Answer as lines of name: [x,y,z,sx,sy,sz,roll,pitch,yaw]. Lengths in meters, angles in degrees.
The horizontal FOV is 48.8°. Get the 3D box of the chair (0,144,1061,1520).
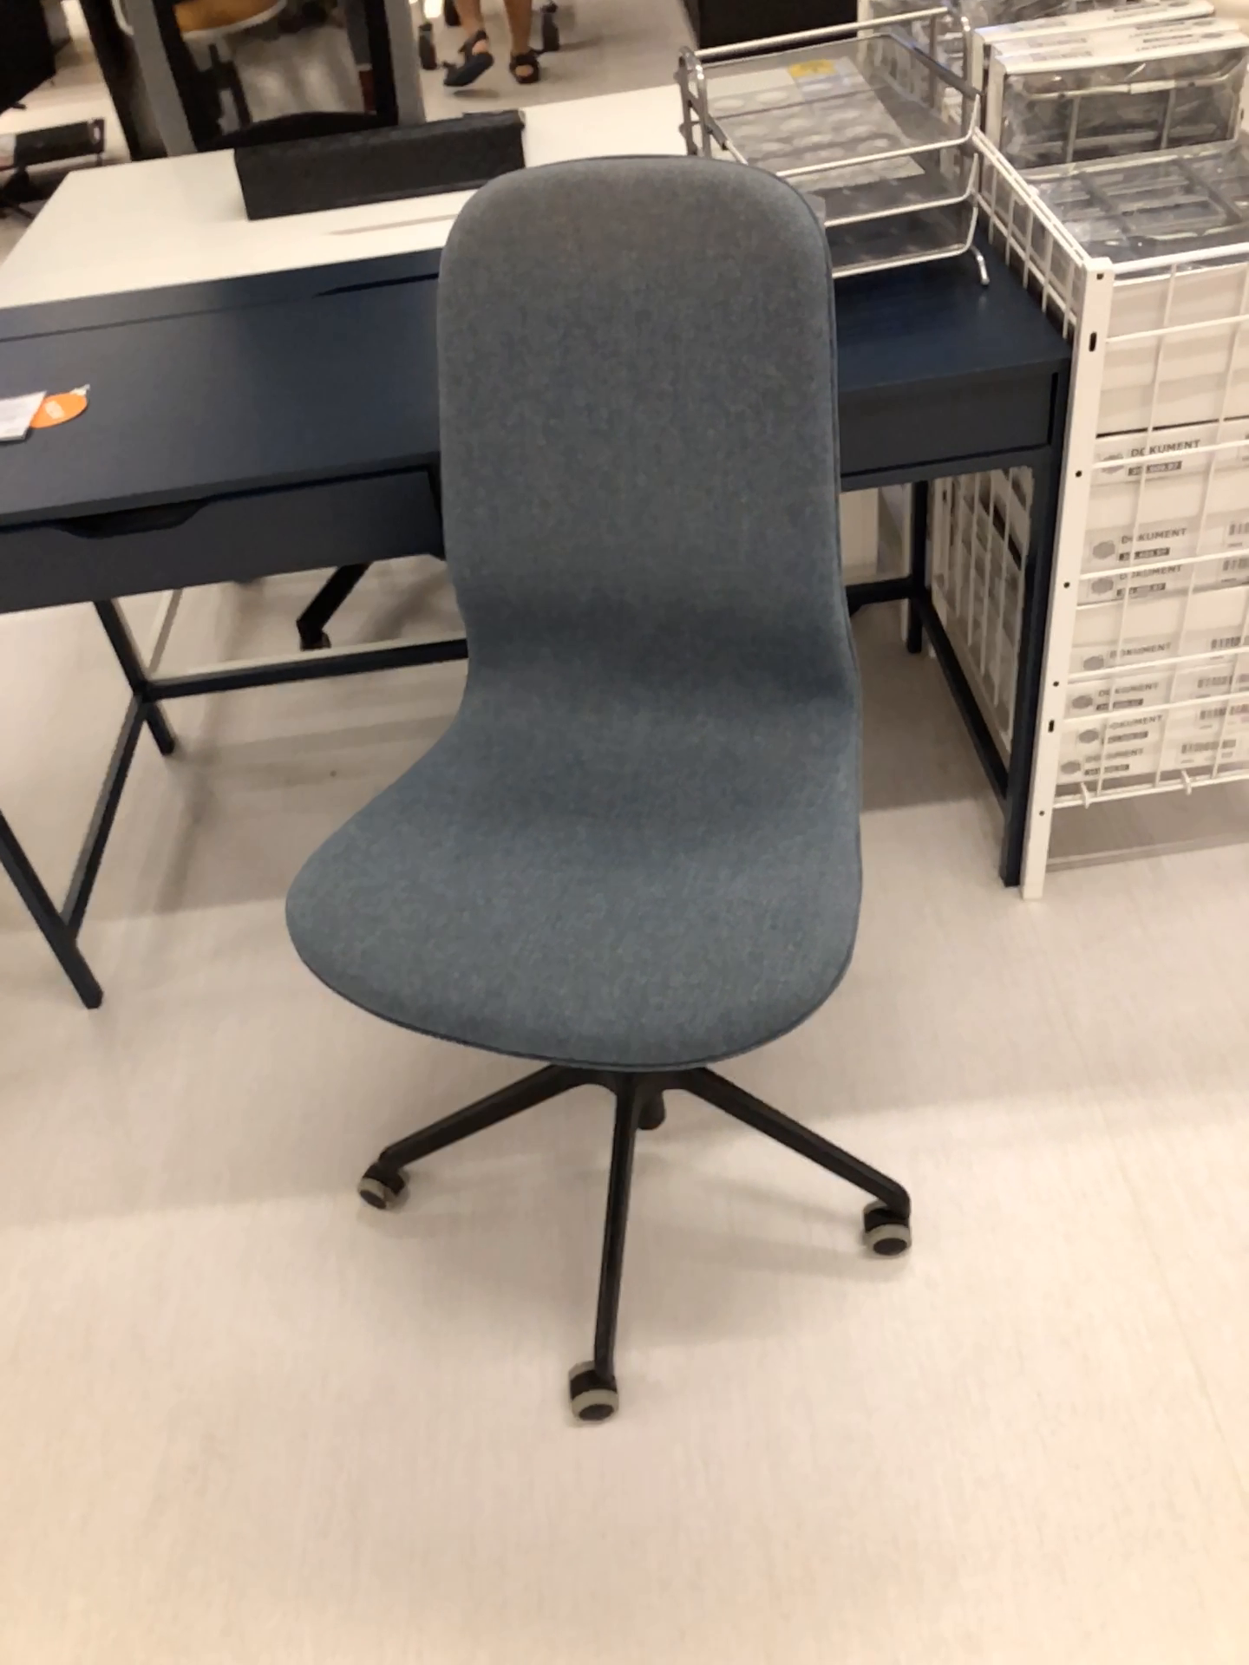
chair: [-0.022,-0.007,1.248,0.641,0.934,0.684,9,45,19]
